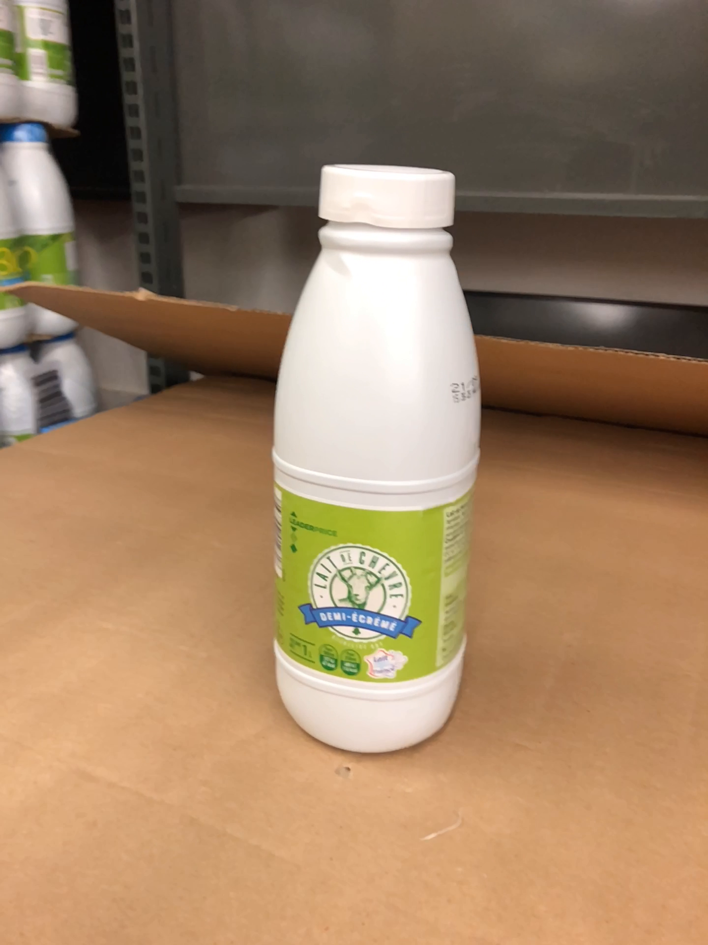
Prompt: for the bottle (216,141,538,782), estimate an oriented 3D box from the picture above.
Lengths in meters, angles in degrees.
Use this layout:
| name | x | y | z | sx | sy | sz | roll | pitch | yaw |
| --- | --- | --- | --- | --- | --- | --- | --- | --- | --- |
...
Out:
| name | x | y | z | sx | sy | sz | roll | pitch | yaw |
| --- | --- | --- | --- | --- | --- | --- | --- | --- | --- |
| bottle | 0.013 | -0.006 | 0.324 | 0.100 | 0.239 | 0.080 | 6 | 21 | 14 |
